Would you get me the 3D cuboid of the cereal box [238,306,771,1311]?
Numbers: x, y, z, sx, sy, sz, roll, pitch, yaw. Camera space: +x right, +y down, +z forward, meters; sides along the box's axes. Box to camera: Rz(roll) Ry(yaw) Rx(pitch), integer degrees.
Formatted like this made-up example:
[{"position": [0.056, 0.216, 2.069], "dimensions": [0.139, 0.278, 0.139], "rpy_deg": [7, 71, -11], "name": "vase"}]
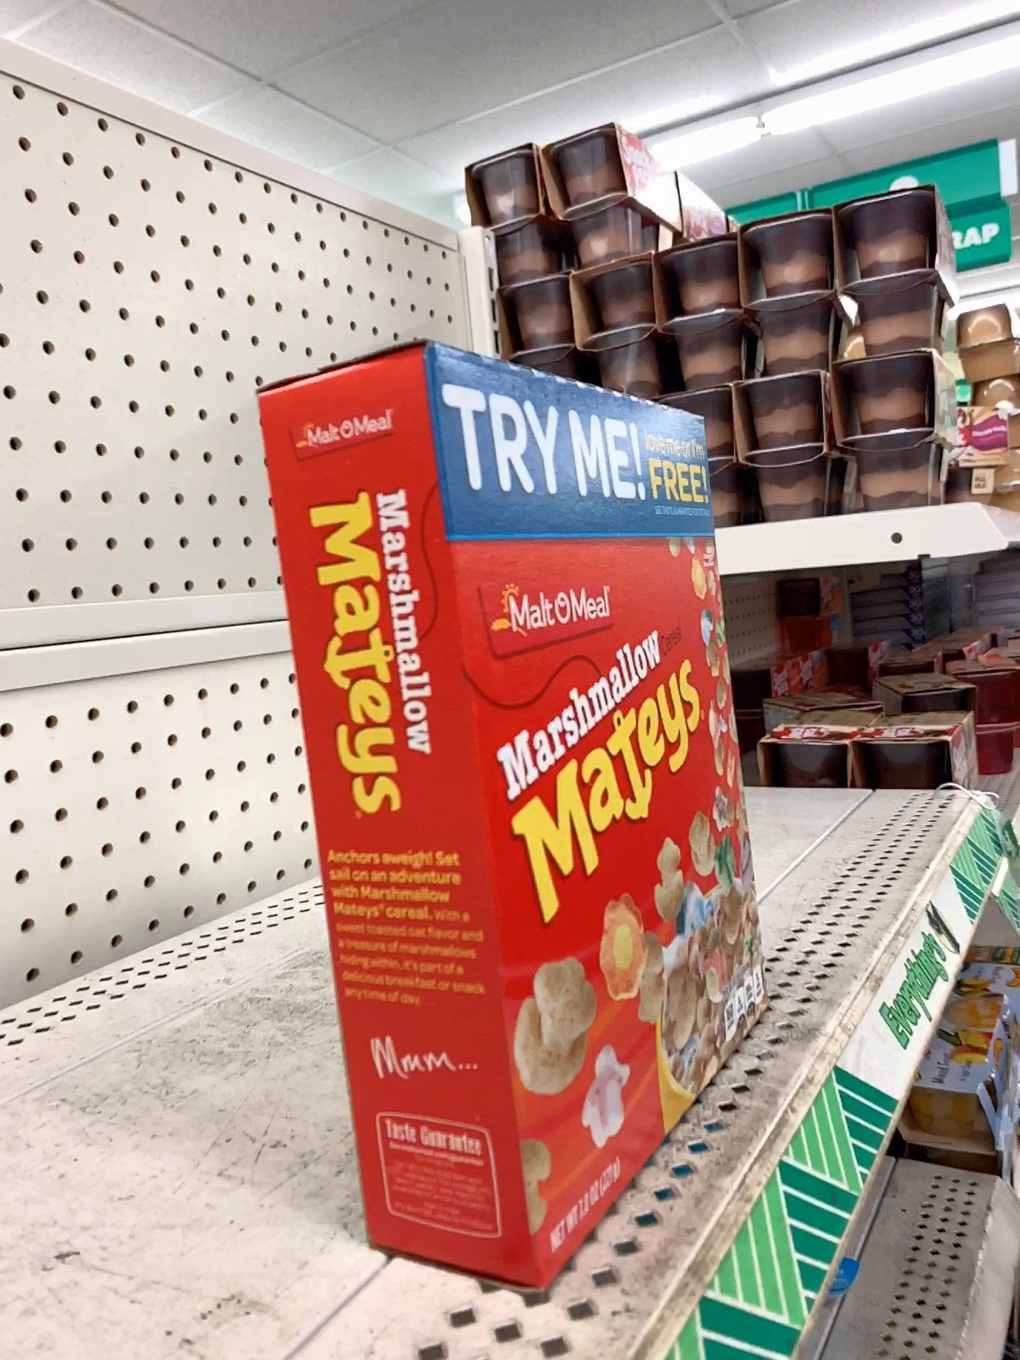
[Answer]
[{"position": [0.016, 0.022, 0.324], "dimensions": [0.050, 0.230, 0.180], "rpy_deg": [-4, 5, 33], "name": "cereal box"}]
